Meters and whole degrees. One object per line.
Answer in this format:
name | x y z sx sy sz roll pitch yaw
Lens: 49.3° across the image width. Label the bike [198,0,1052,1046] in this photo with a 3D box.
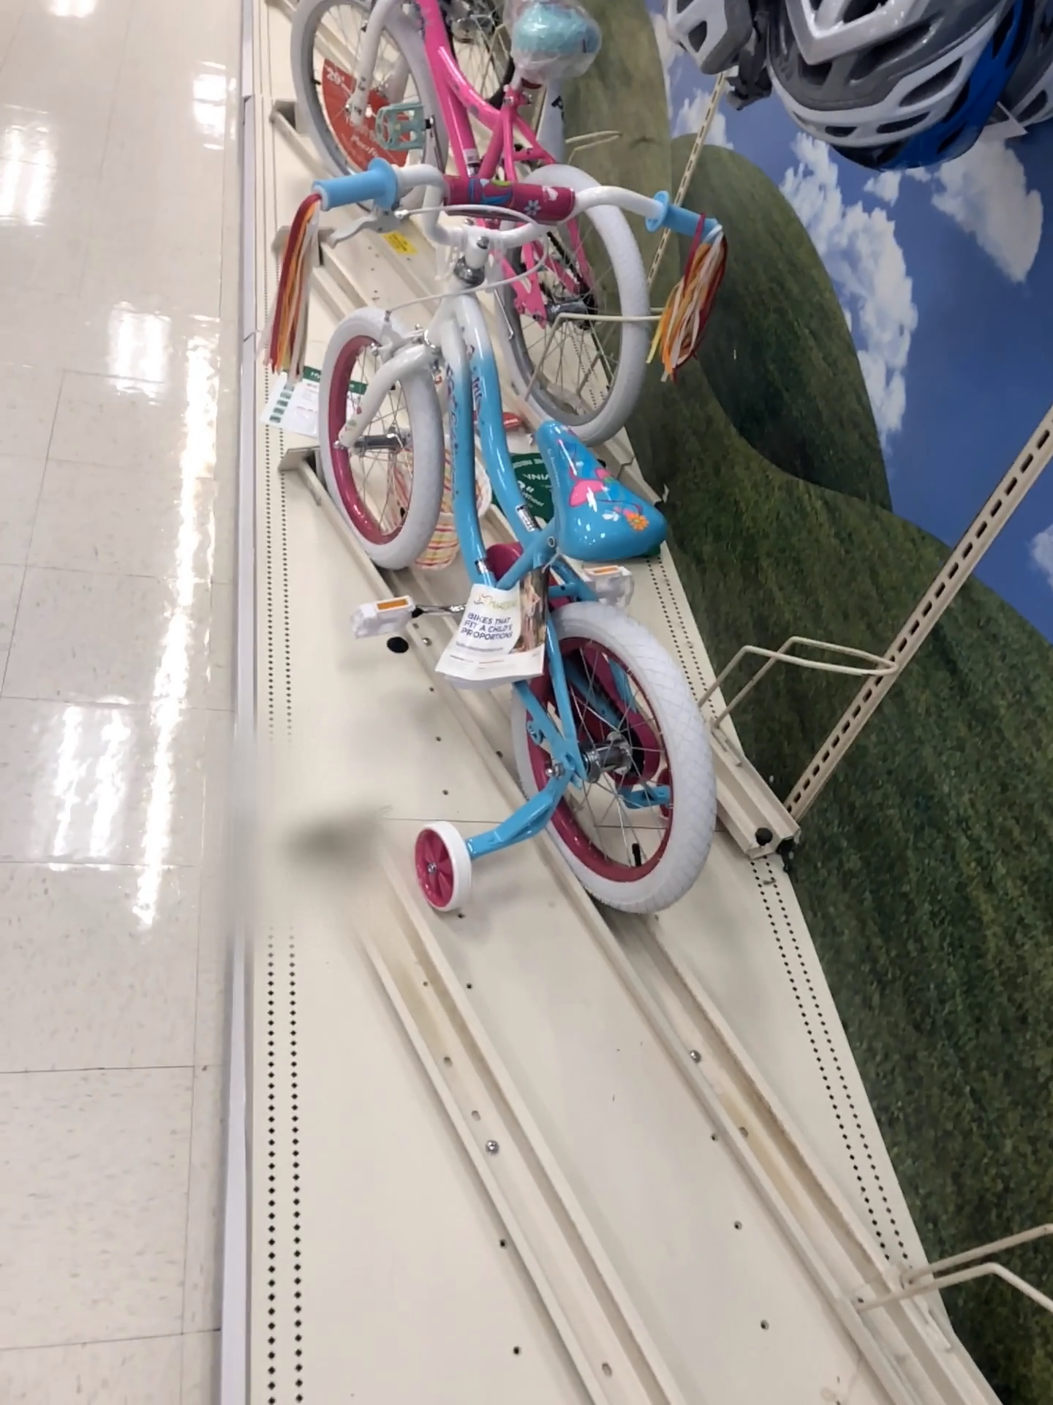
bike | 0.008 -0.300 1.559 0.533 0.723 1.093 -13 54 -31
